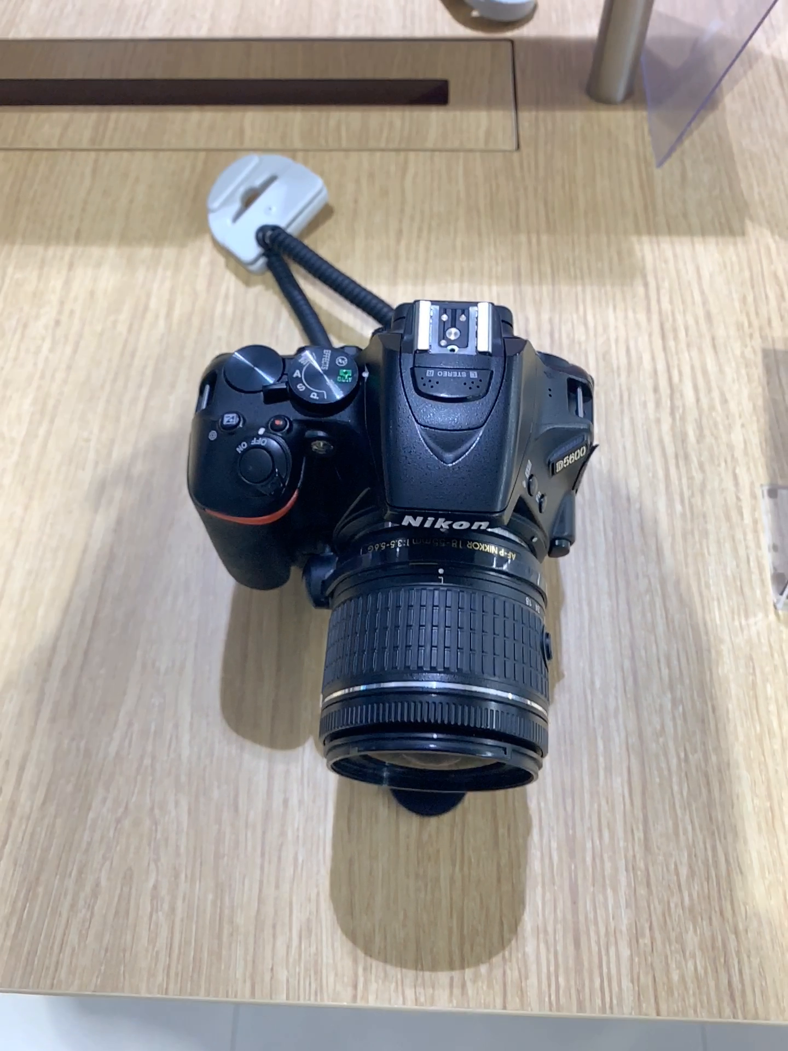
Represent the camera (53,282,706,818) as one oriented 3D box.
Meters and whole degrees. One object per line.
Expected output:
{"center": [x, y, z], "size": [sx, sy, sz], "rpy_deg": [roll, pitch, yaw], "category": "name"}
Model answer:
{"center": [-0.001, 0.009, 0.217], "size": [0.124, 0.080, 0.114], "rpy_deg": [2, 61, 1], "category": "camera"}
